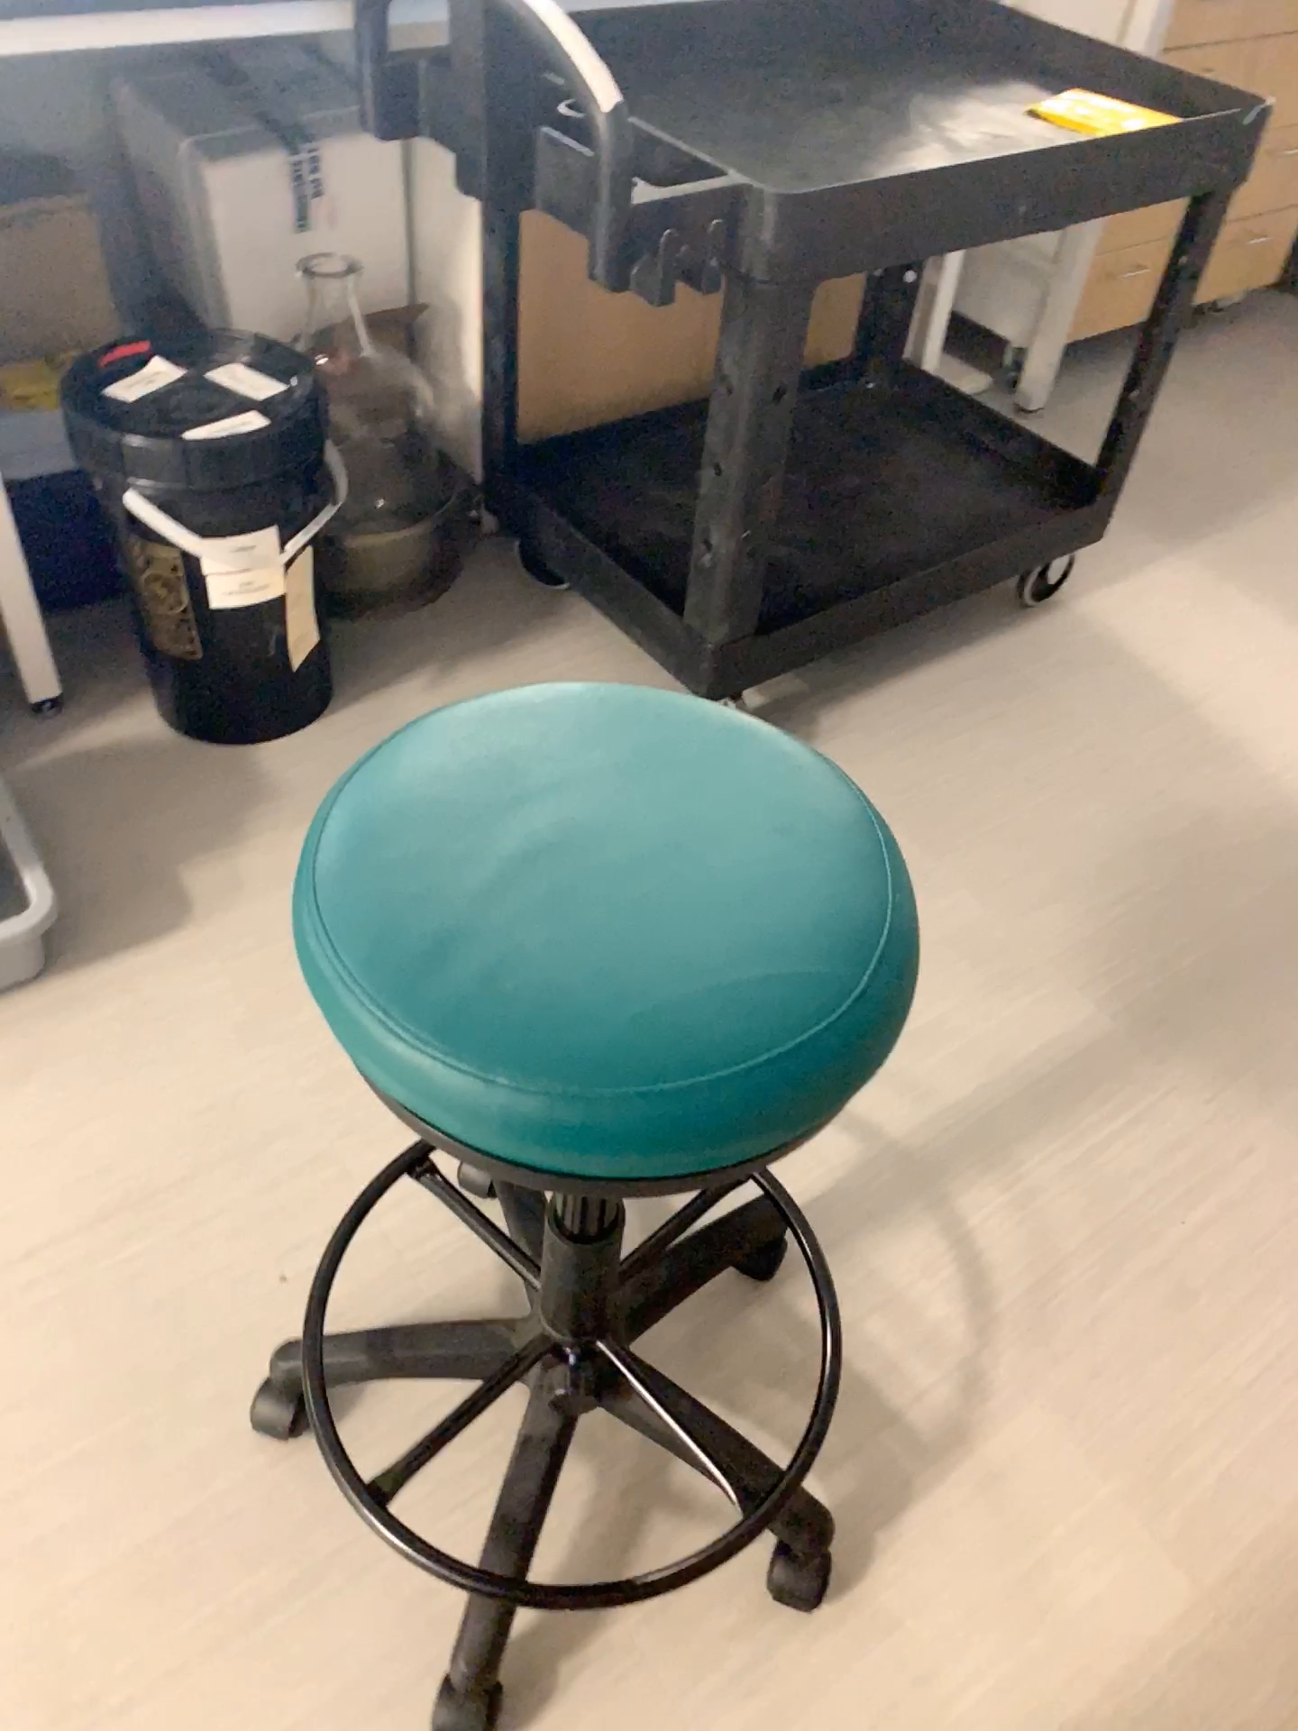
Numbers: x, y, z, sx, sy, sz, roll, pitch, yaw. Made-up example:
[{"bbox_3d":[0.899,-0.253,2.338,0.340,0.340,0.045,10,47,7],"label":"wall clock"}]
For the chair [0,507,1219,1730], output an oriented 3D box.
[{"bbox_3d":[-0.052,0.245,0.977,0.591,0.654,0.594,23,47,15],"label":"chair"}]
